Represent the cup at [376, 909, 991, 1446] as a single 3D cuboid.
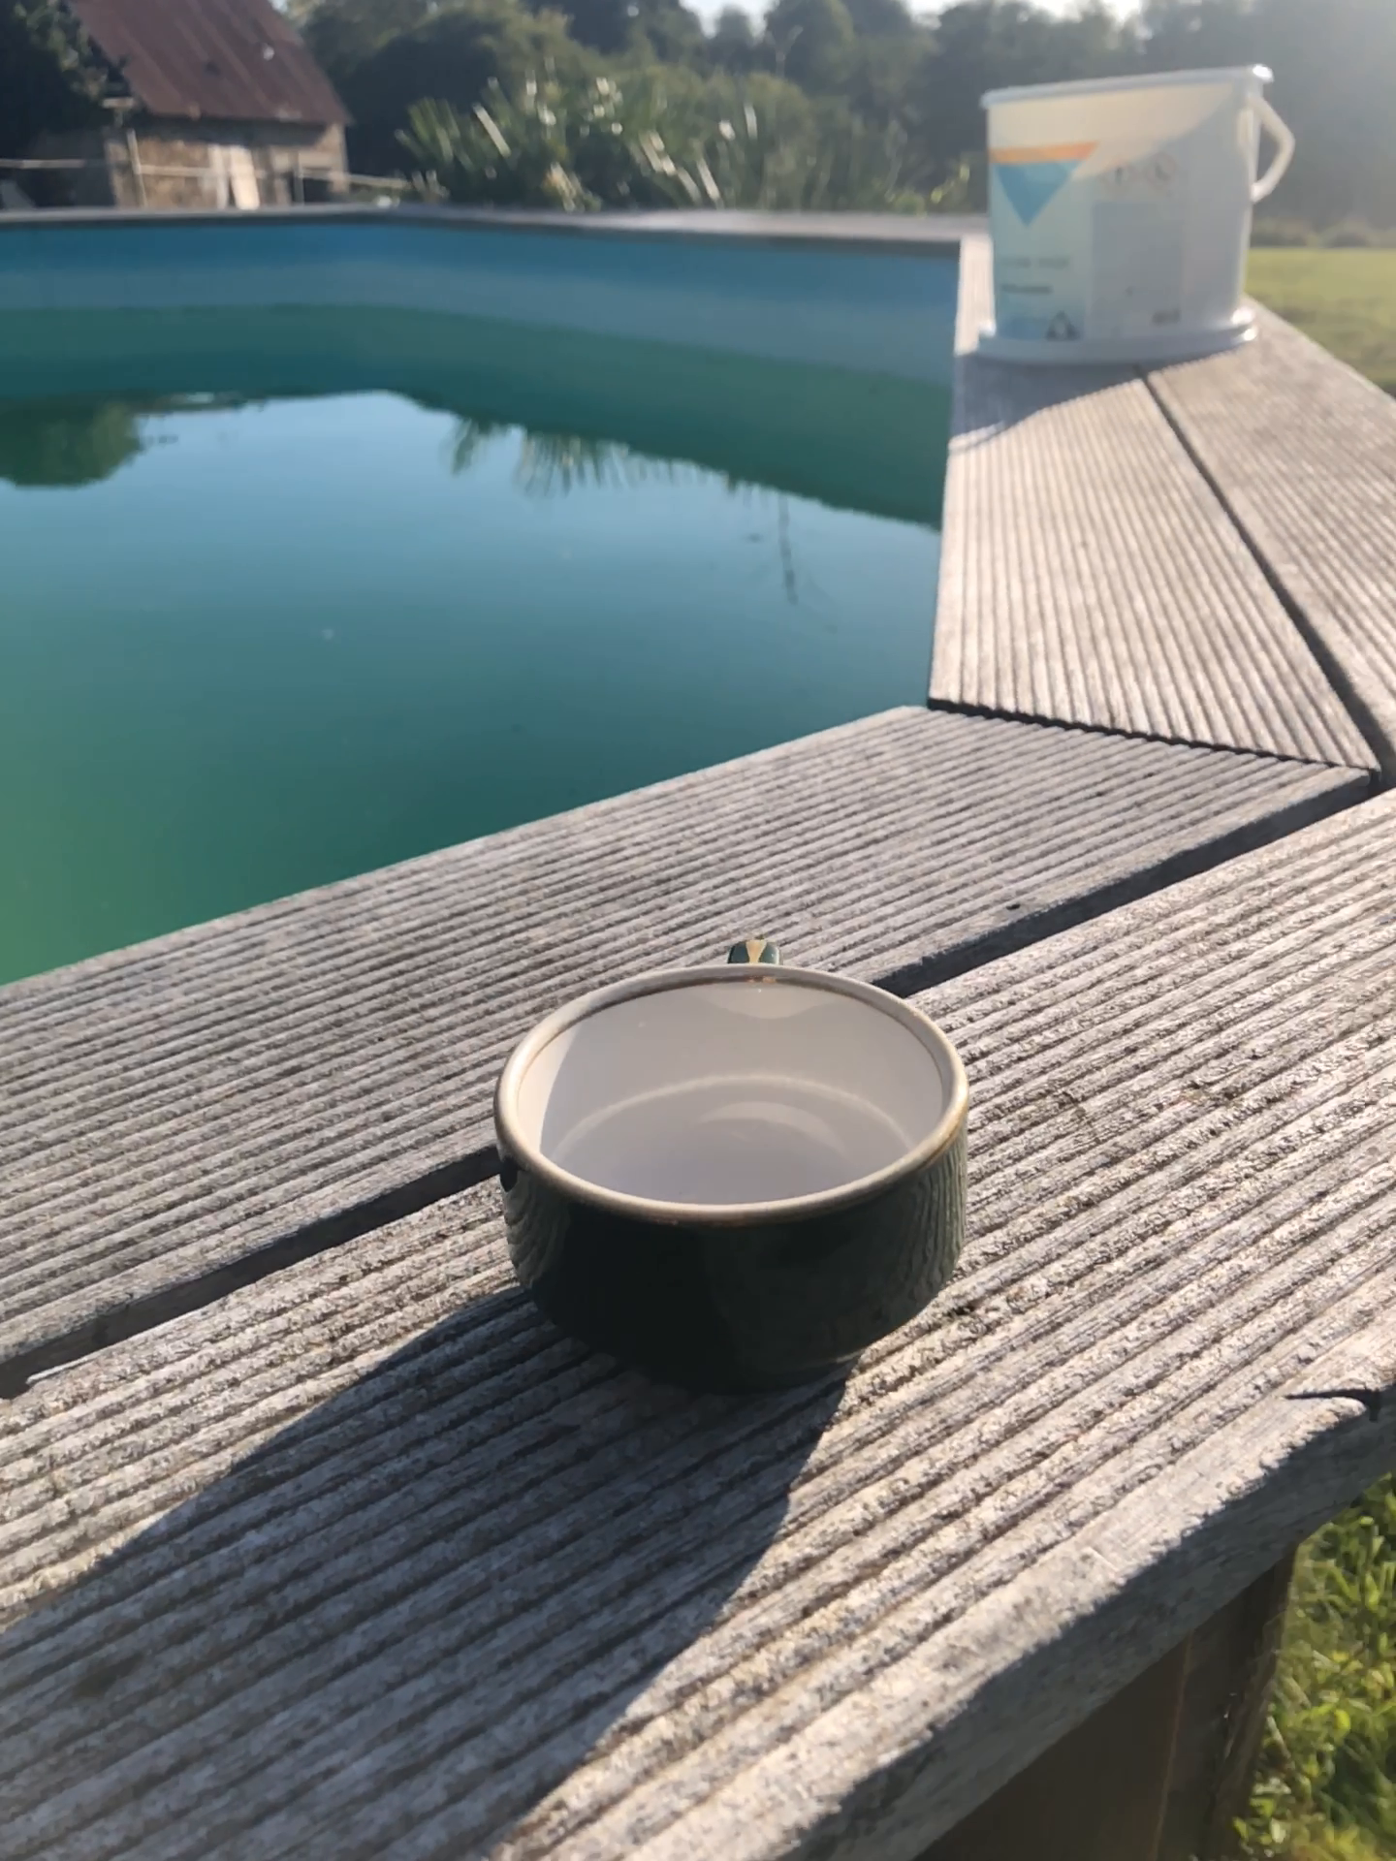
[{"bbox_3d":[0.002,0.036,0.258,0.083,0.038,0.096,-2,27,5],"label":"cup"}]
